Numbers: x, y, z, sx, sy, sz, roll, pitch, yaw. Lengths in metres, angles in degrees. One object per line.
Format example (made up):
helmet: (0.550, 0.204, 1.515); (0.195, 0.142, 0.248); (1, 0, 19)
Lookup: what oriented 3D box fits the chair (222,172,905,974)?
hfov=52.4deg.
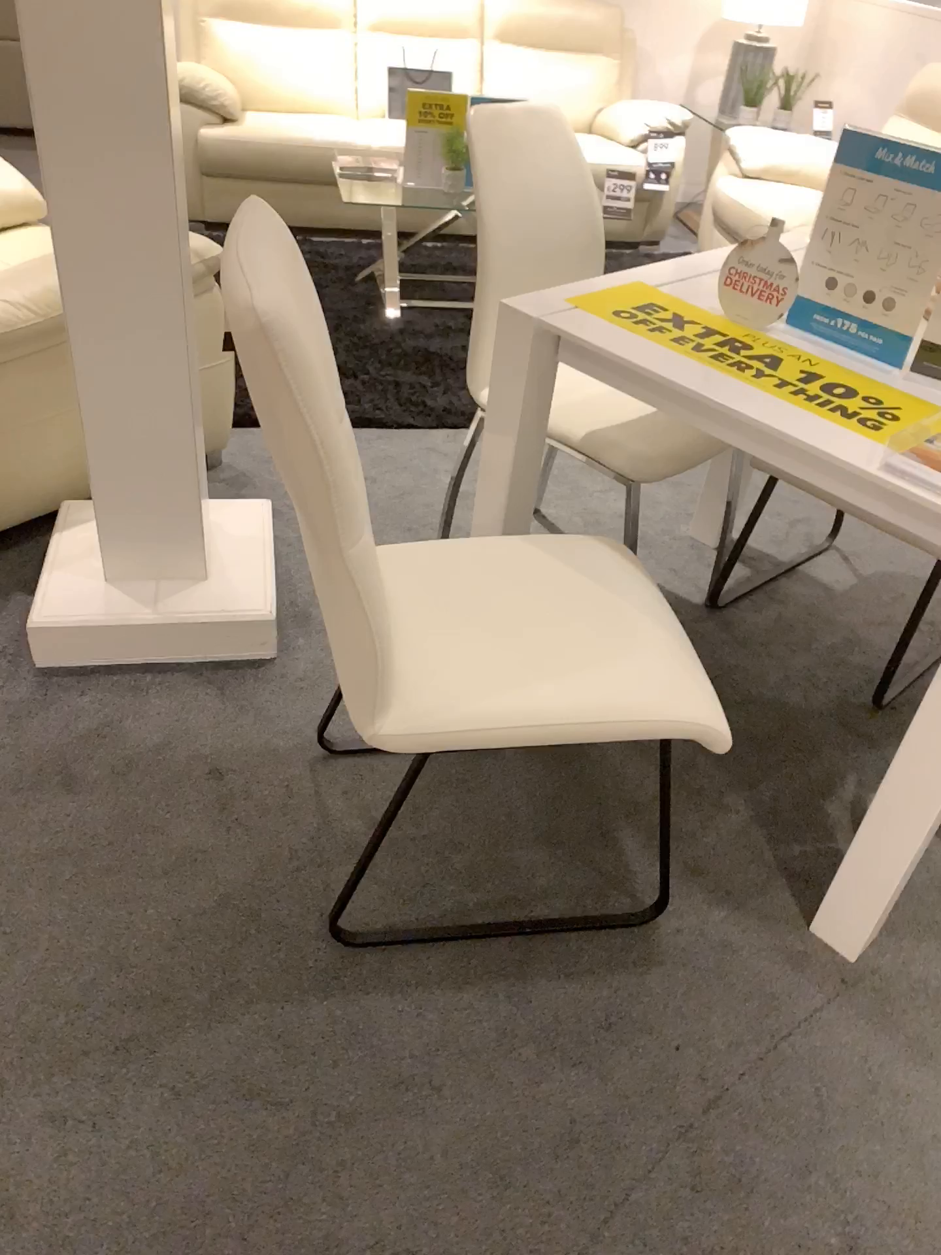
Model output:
chair: (0.007, -0.060, 1.321); (0.630, 0.892, 0.545); (-3, 38, -13)
